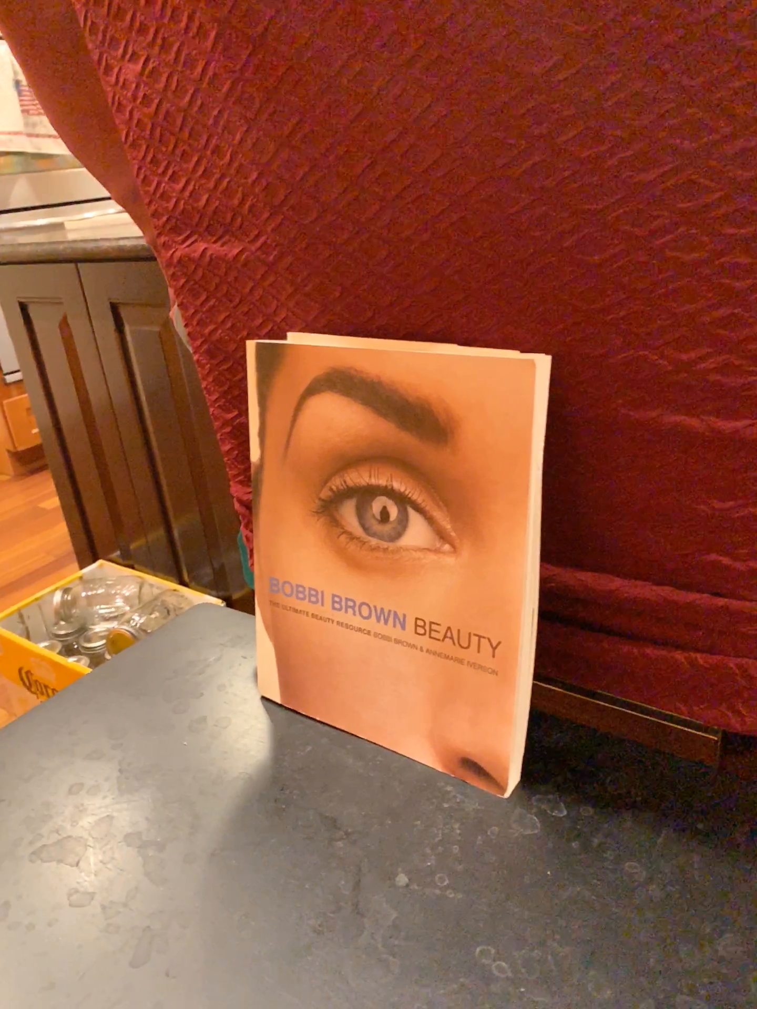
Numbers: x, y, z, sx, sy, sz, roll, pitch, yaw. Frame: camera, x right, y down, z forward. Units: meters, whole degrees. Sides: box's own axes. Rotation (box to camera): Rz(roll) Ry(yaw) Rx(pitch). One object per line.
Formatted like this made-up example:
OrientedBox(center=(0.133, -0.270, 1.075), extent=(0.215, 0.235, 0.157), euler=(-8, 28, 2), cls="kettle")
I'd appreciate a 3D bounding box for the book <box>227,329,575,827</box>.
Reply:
OrientedBox(center=(0.001, 0.028, 0.433), extent=(0.201, 0.239, 0.030), euler=(11, 18, 36), cls="book")
